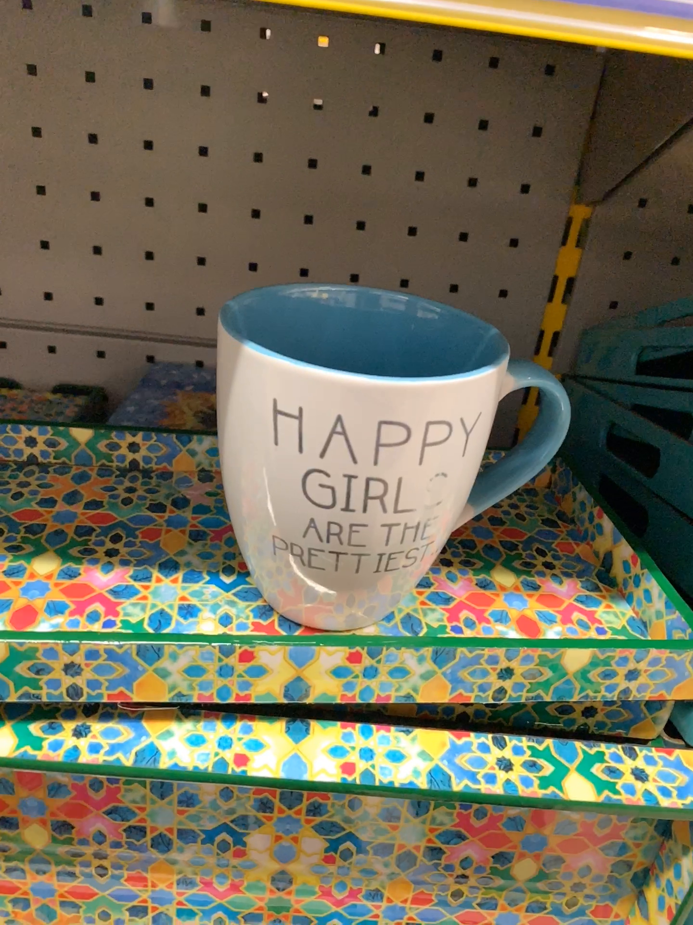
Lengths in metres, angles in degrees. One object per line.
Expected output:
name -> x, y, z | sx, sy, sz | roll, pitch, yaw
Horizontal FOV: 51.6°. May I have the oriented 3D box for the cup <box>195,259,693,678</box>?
cup -> 0.029, -0.007, 0.275 | 0.150, 0.100, 0.120 | -1, 28, -21
